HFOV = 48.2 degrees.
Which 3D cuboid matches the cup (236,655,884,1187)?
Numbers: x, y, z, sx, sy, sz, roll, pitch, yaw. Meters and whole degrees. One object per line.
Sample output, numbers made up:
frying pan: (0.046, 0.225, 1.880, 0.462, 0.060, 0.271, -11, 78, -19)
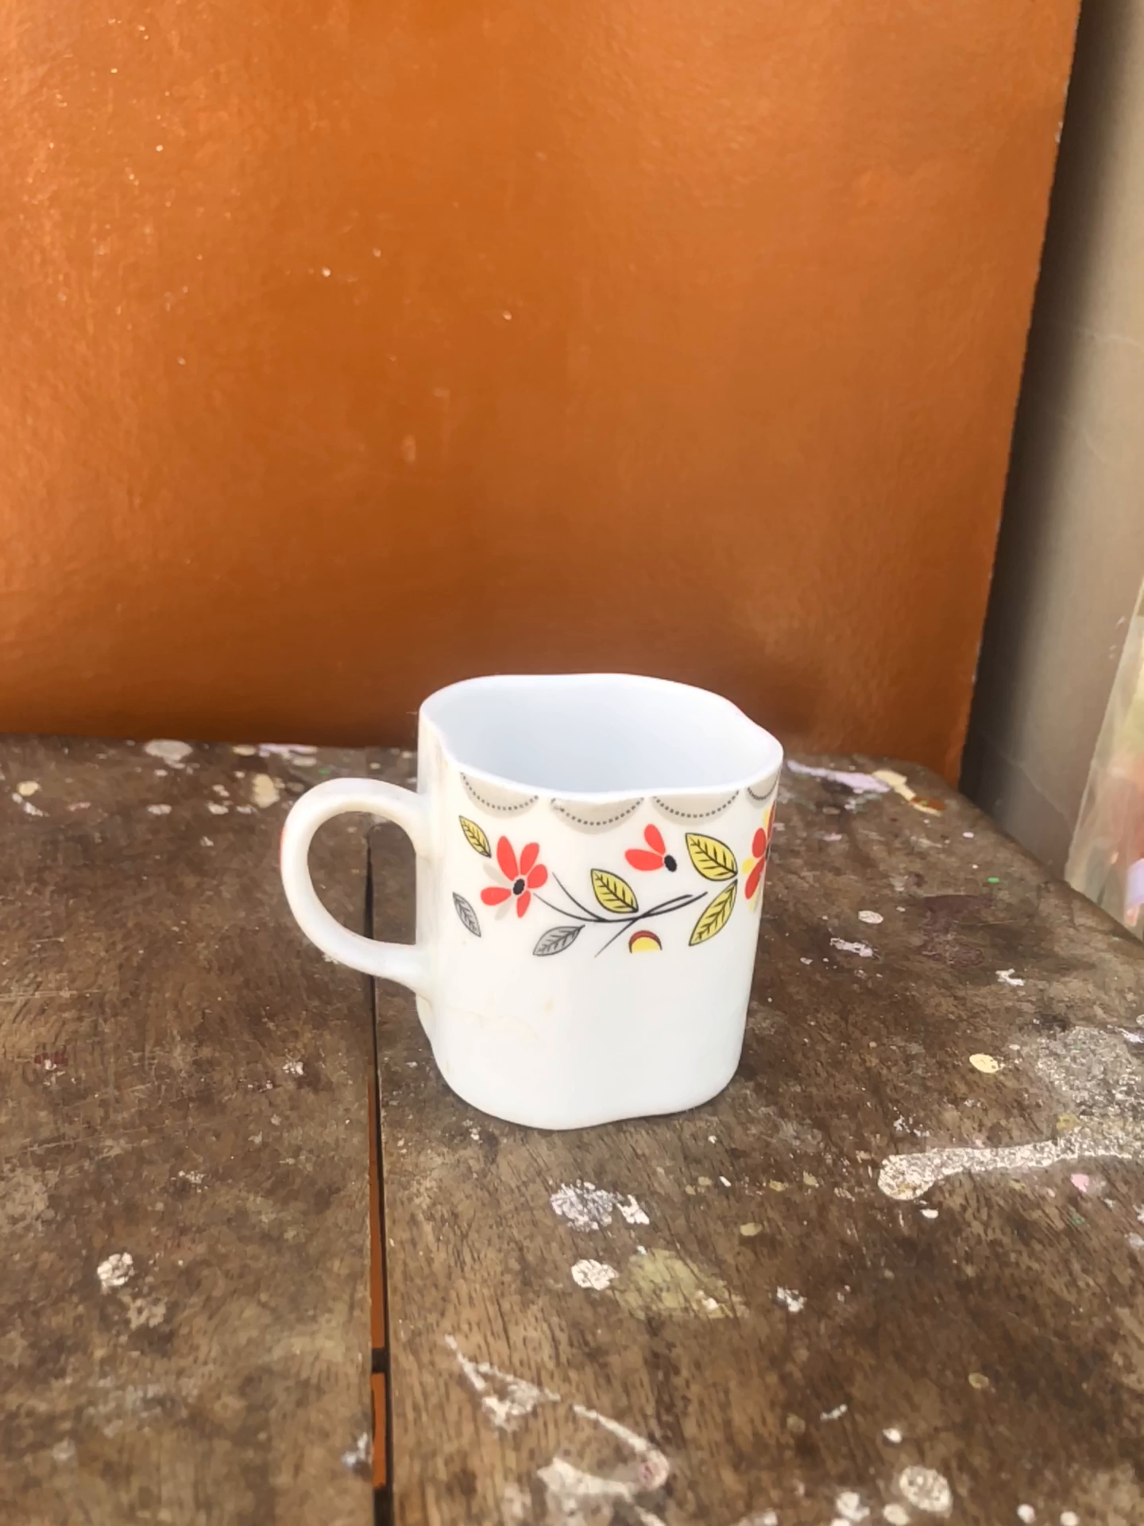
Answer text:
cup: (-0.007, 0.020, 0.213, 0.090, 0.060, 0.060, -3, 20, -16)
